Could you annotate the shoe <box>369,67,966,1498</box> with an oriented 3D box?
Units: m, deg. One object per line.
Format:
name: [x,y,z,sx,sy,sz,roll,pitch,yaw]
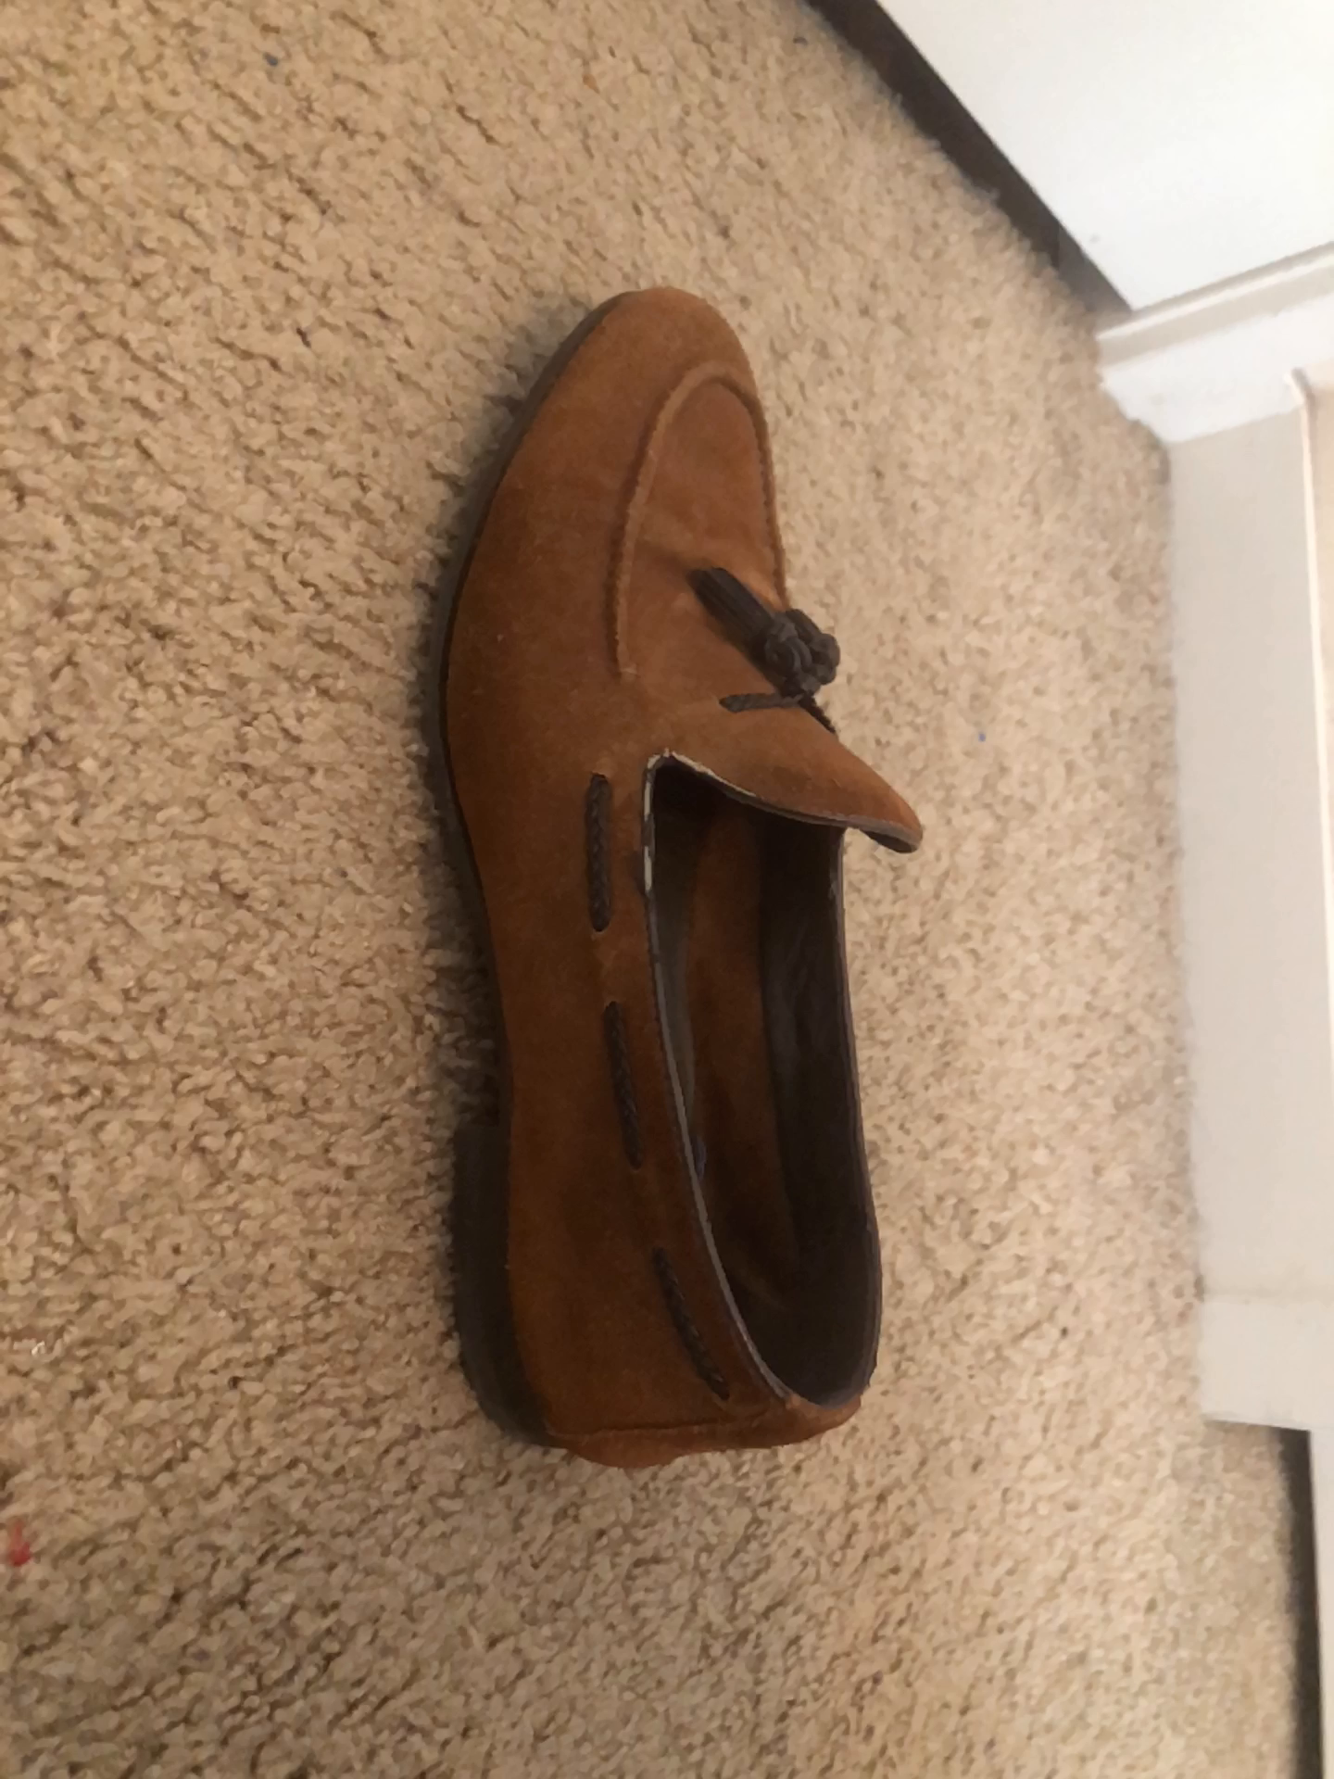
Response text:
shoe: [0.005,-0.022,0.359,0.091,0.099,0.292,14,74,-50]
